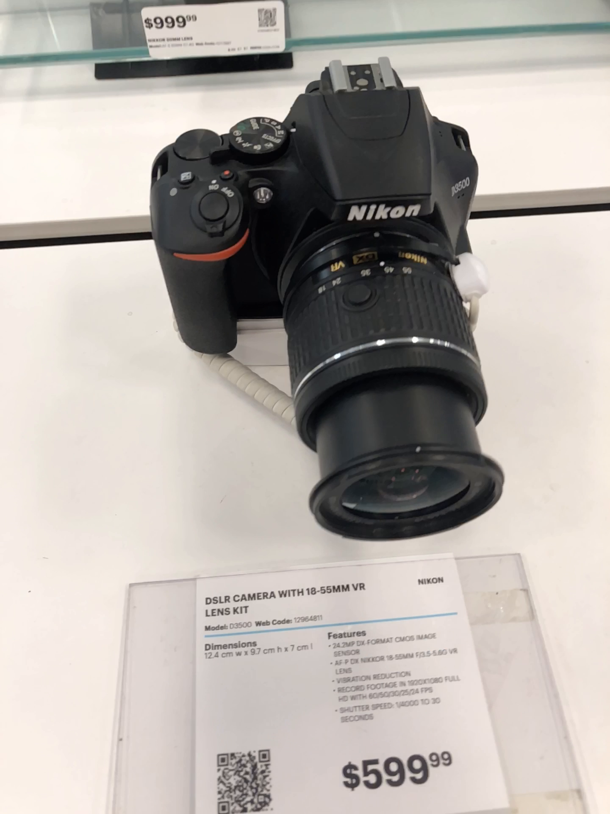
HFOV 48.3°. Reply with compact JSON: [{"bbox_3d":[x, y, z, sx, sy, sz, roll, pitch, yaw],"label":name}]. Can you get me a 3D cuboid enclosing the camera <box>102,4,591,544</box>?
[{"bbox_3d":[0.005,-0.052,0.255,0.120,0.100,0.170,-4,57,-2],"label":"camera"}]
